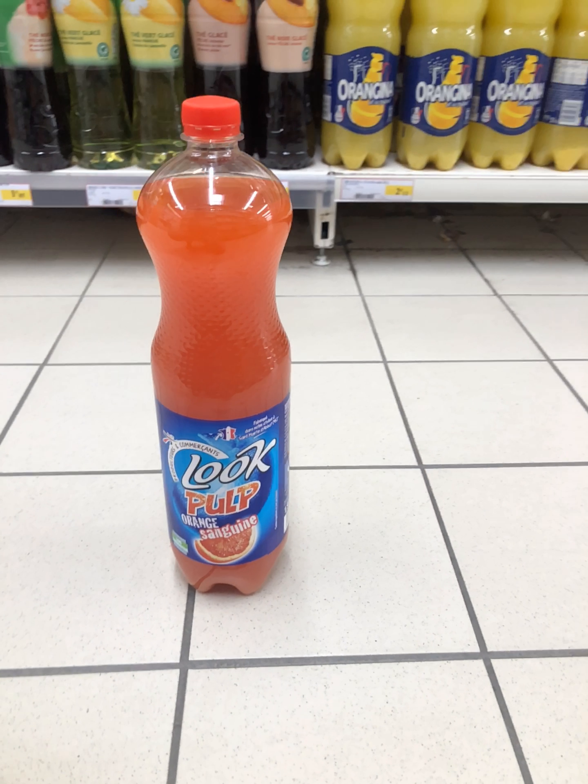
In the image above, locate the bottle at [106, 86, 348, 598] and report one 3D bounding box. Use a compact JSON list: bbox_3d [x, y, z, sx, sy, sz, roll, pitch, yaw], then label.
[{"bbox_3d":[-0.031,-0.019,0.414,0.110,0.308,0.101,1,30,-1],"label":"bottle"}]
